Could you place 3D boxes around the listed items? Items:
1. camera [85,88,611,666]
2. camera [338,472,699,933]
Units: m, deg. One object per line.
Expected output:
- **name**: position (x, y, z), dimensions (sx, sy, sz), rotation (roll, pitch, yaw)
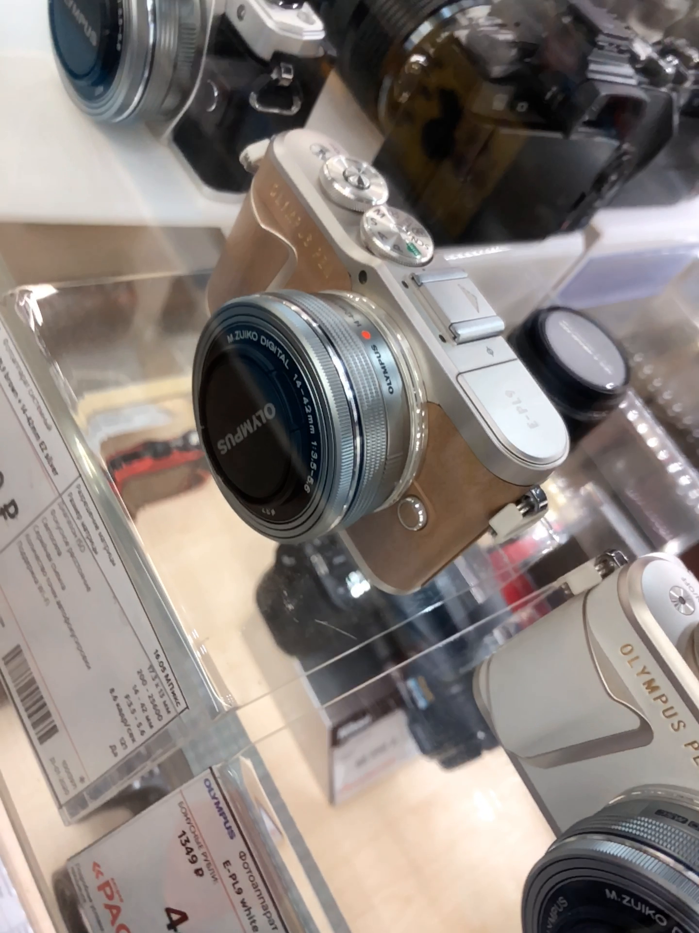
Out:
- **camera**: position (-0.008, -0.027, 0.198), dimensions (0.060, 0.060, 0.122), rotation (-17, 66, -39)
- **camera**: position (0.063, 0.074, 0.157), dimensions (0.060, 0.060, 0.122), rotation (-17, 66, -39)
